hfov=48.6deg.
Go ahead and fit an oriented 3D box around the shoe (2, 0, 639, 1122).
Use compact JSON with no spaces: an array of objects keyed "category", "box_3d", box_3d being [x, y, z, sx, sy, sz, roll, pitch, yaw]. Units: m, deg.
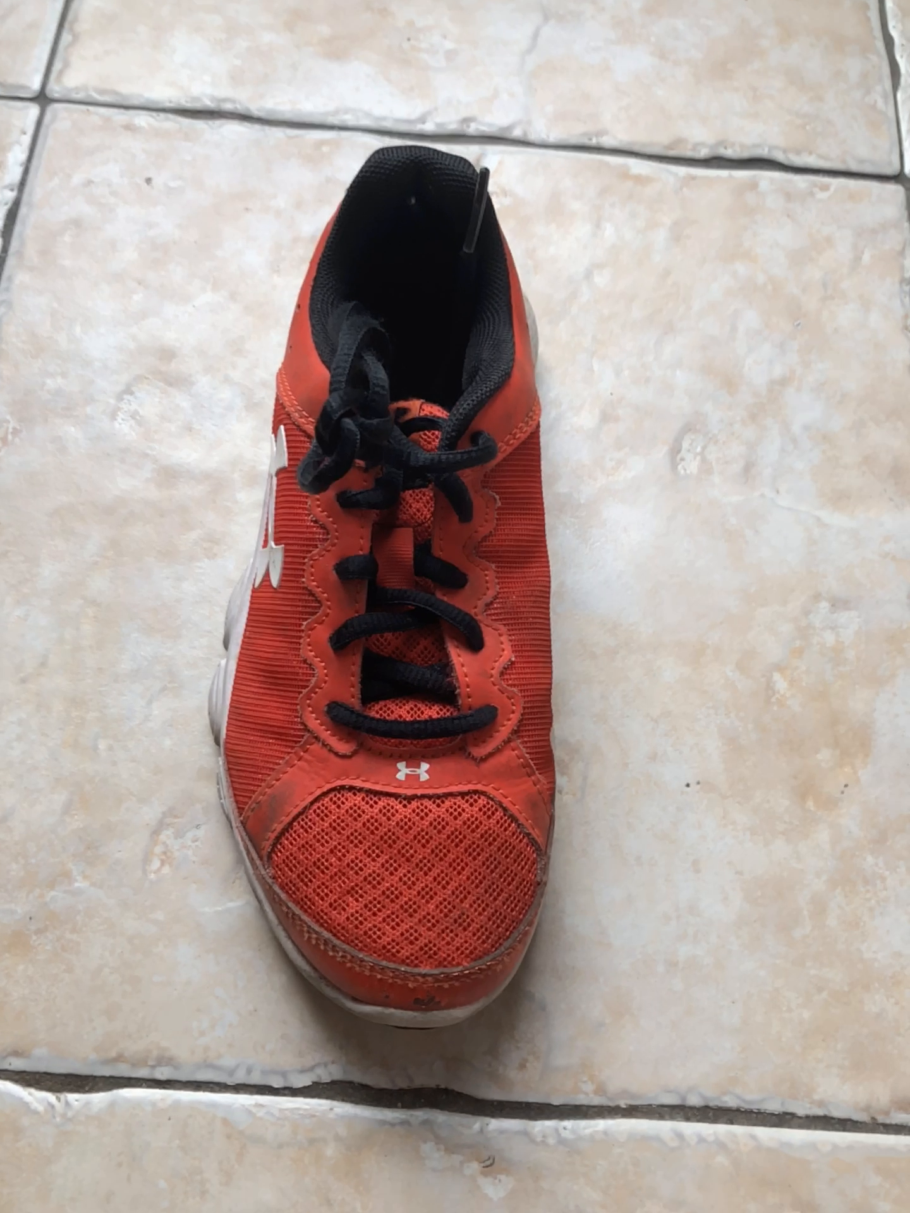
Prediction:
[{"category":"shoe","box_3d":[-0.018,-0.017,0.246,0.100,0.100,0.241,2,70,-1]}]
